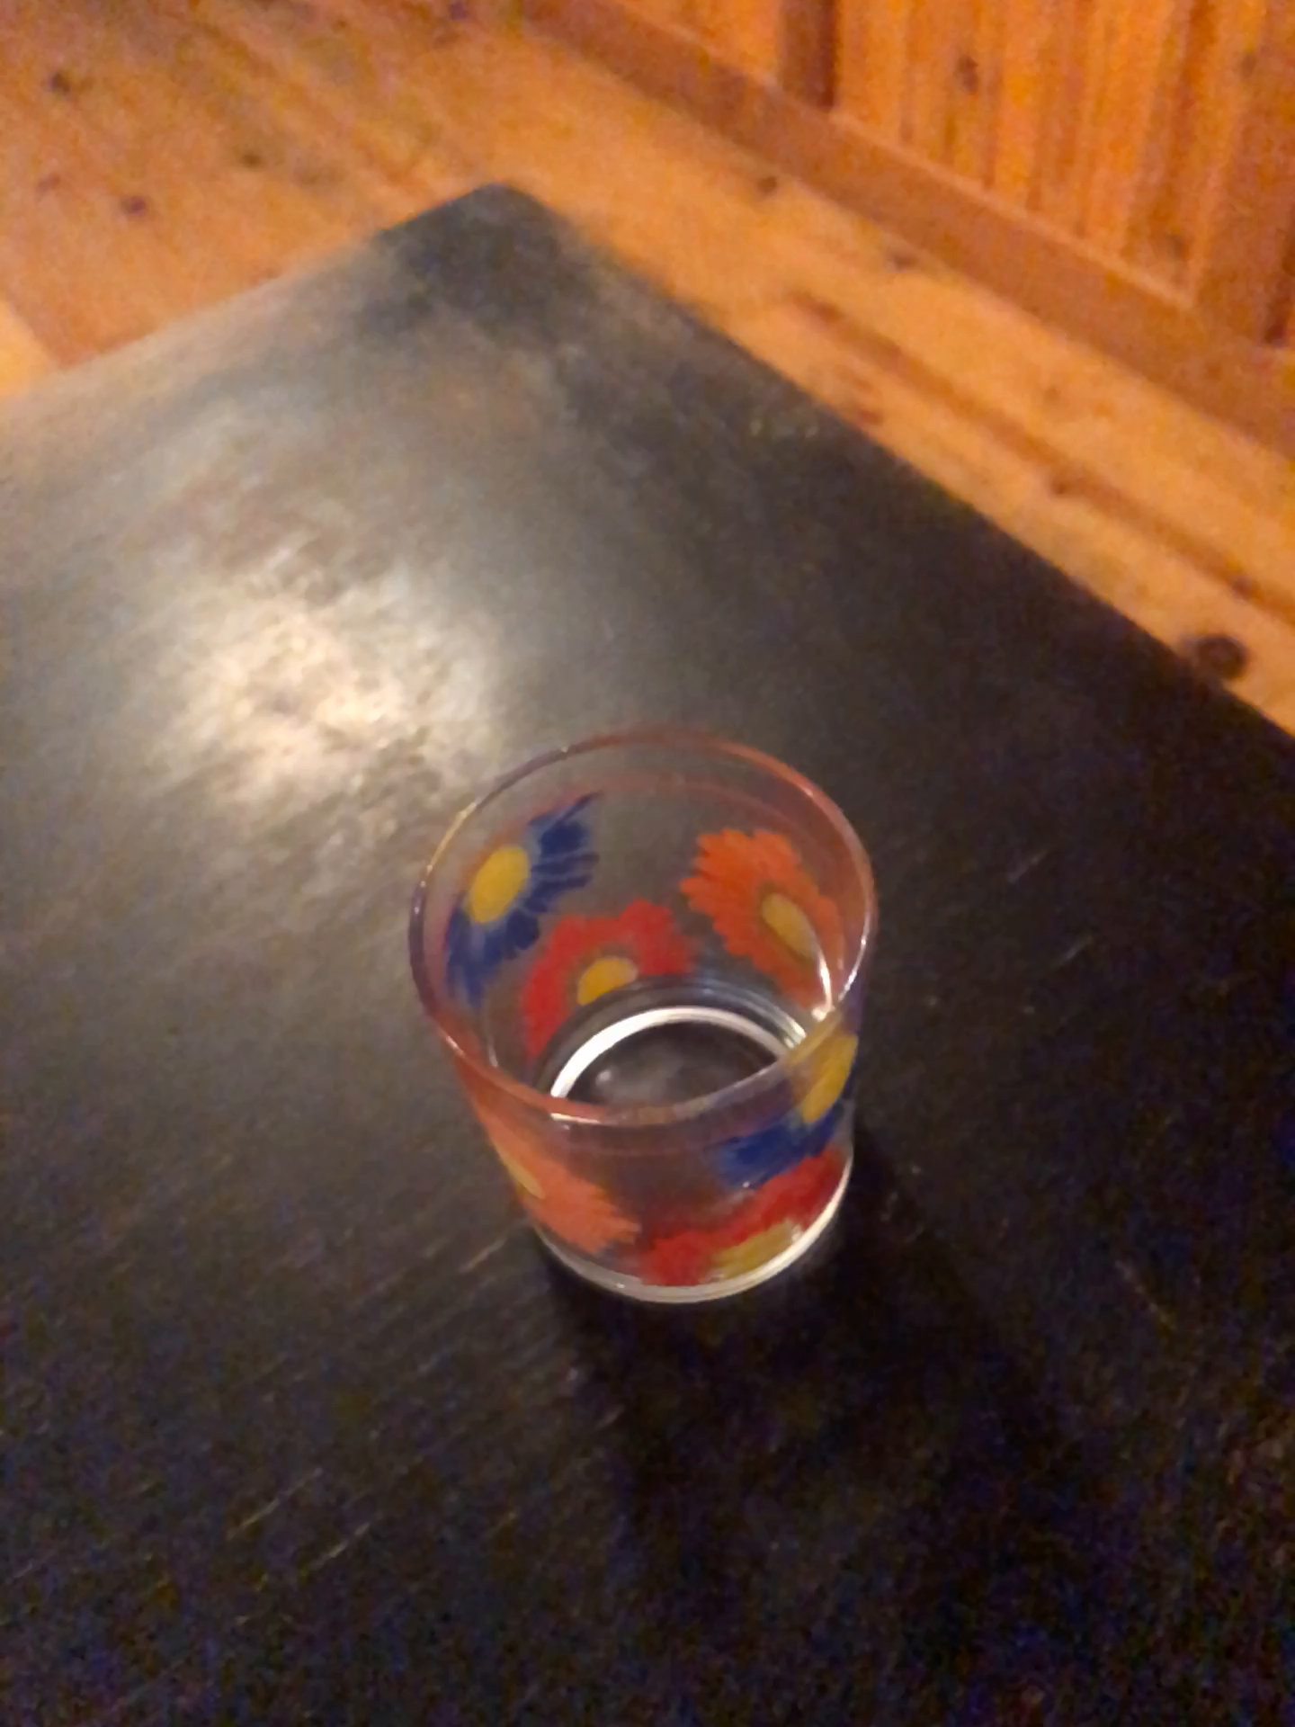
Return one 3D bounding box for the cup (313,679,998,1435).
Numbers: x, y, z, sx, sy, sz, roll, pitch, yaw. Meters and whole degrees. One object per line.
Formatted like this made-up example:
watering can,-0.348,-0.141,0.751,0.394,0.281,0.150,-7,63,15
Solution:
cup,0.003,0.034,0.258,0.076,0.079,0.078,-3,53,4
